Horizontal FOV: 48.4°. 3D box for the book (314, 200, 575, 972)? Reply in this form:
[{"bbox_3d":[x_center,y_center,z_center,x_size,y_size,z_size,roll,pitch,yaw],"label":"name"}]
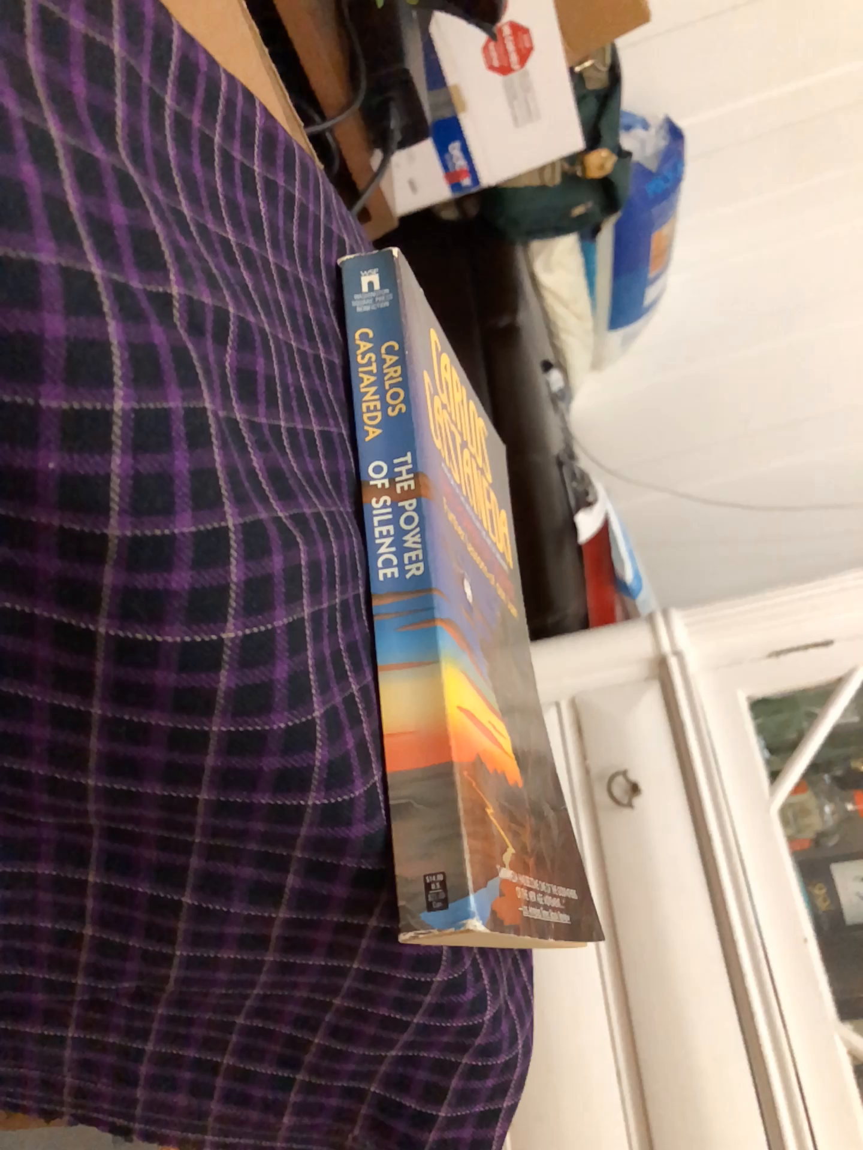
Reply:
[{"bbox_3d":[0.007,0.012,0.320,0.150,0.020,0.220,50,30,-61],"label":"book"}]
